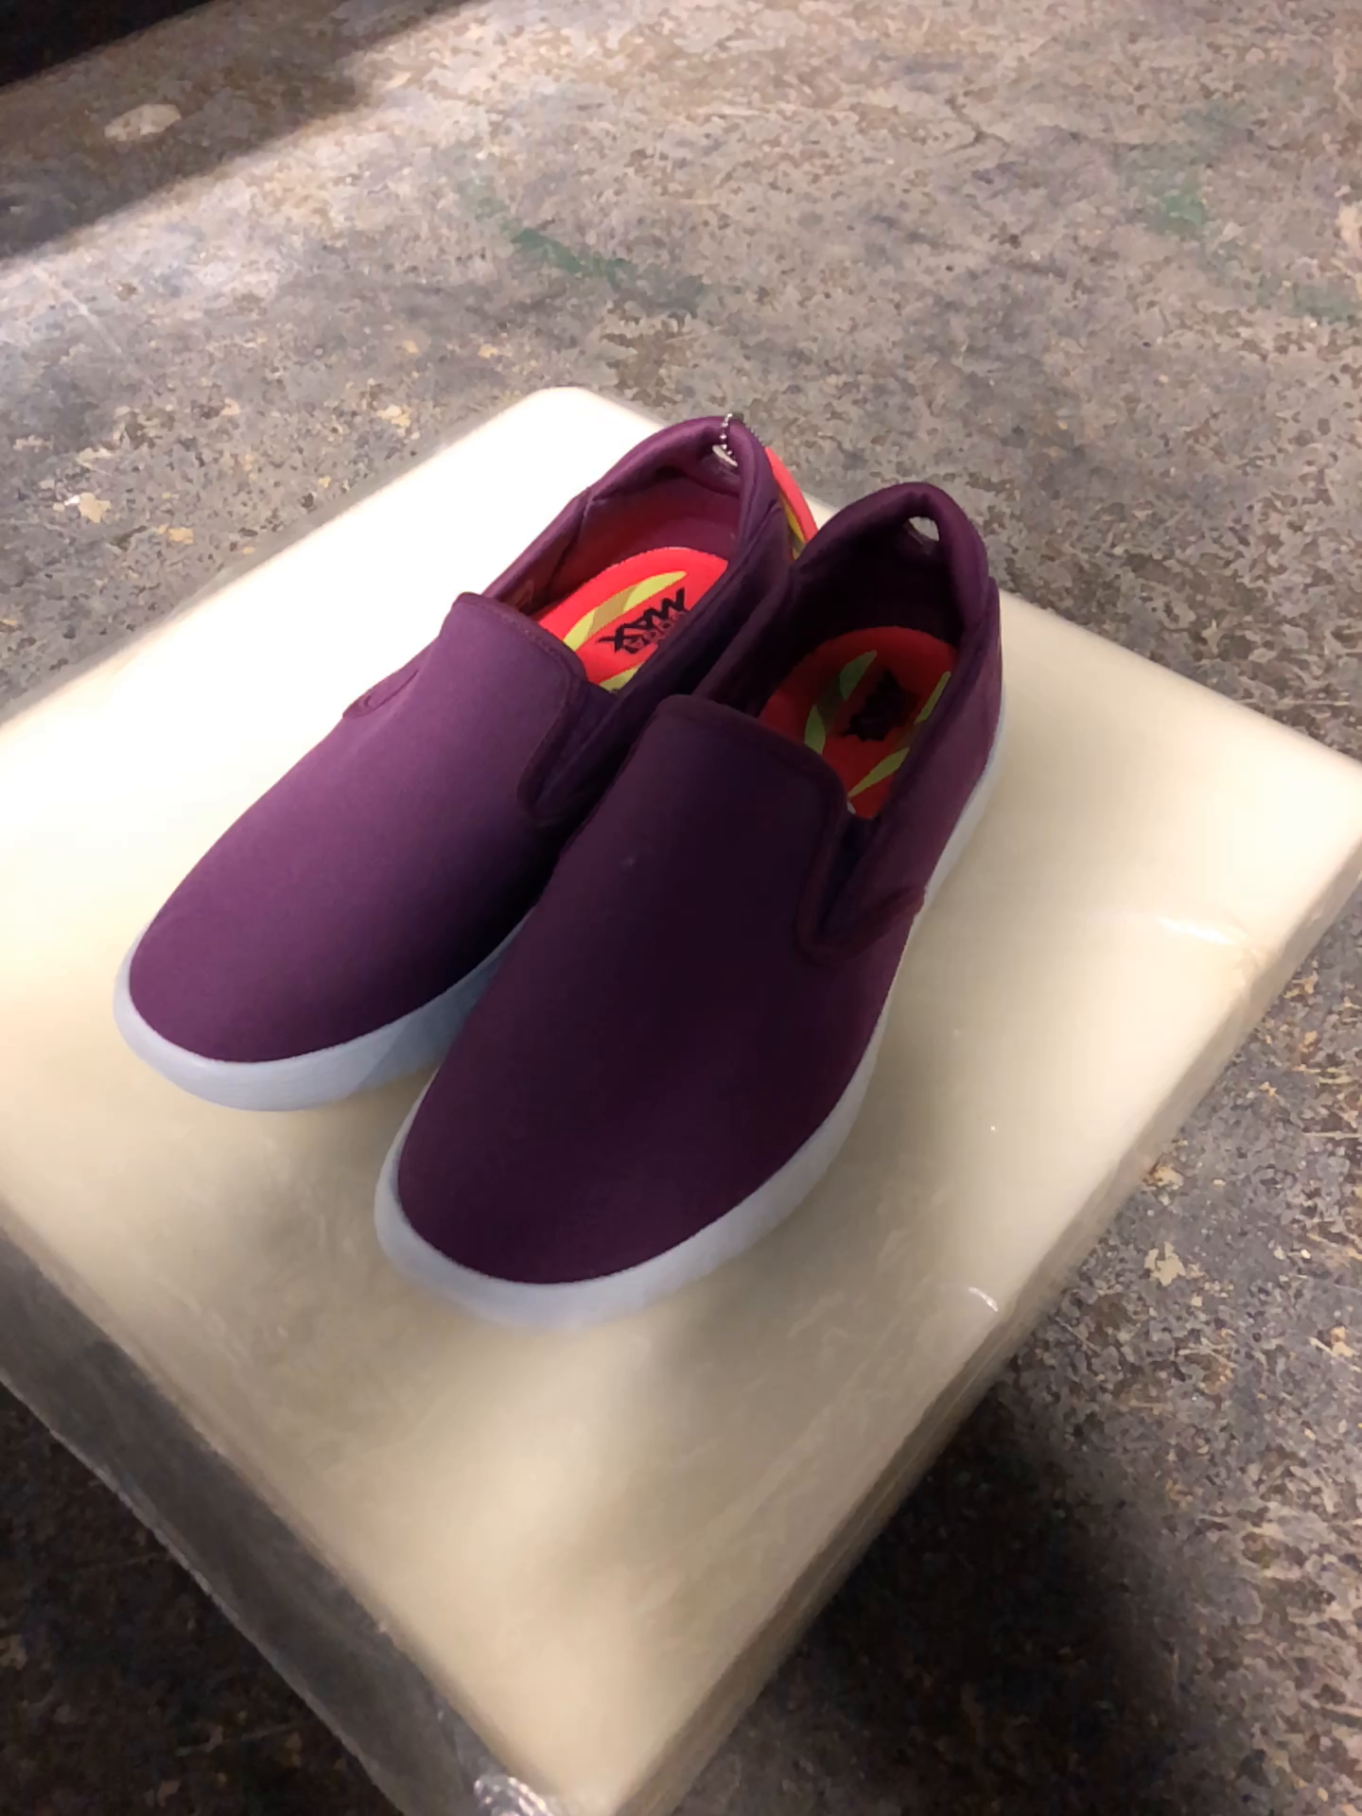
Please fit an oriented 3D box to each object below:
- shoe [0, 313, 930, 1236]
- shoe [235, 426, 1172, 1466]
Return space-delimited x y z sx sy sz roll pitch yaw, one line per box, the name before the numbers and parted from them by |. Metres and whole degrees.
shoe | -0.045 -0.053 0.418 0.100 0.089 0.261 29 57 23
shoe | 0.020 -0.007 0.373 0.100 0.089 0.241 25 55 21
